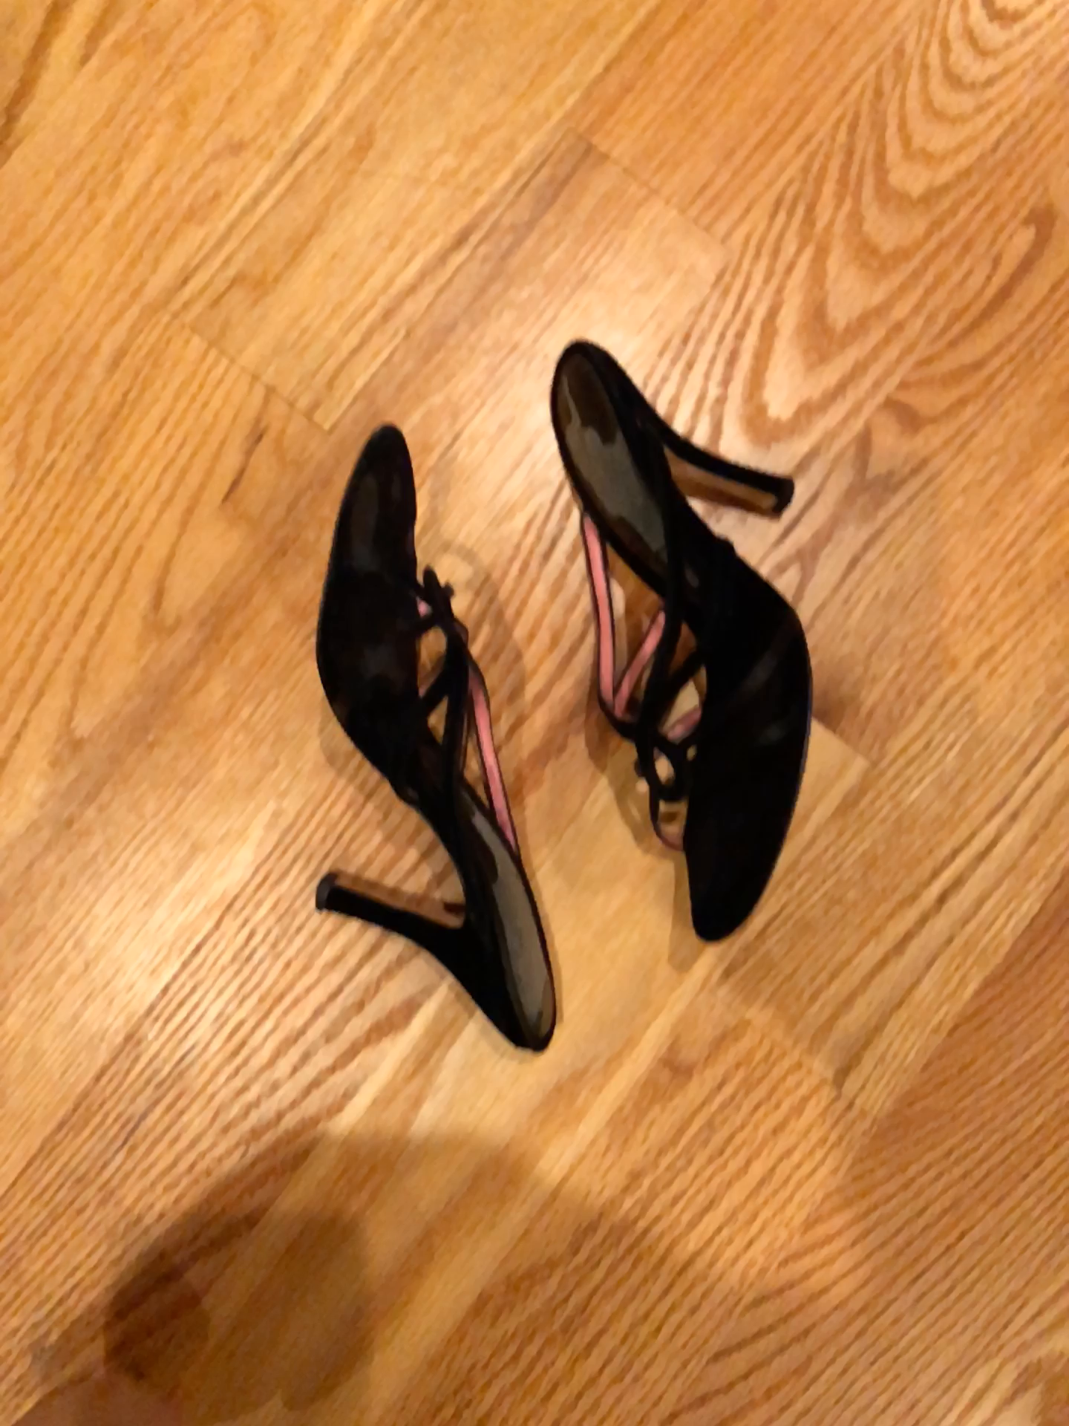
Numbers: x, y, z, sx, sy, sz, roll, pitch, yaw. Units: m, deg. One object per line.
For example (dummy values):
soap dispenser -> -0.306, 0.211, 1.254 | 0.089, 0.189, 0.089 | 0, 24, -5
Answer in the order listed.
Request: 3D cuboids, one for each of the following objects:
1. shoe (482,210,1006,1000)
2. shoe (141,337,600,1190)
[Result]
shoe -> 0.061, -0.031, 0.400 | 0.102, 0.104, 0.215 | -15, 87, -1
shoe -> -0.051, 0.015, 0.396 | 0.082, 0.104, 0.235 | -13, 87, -3
